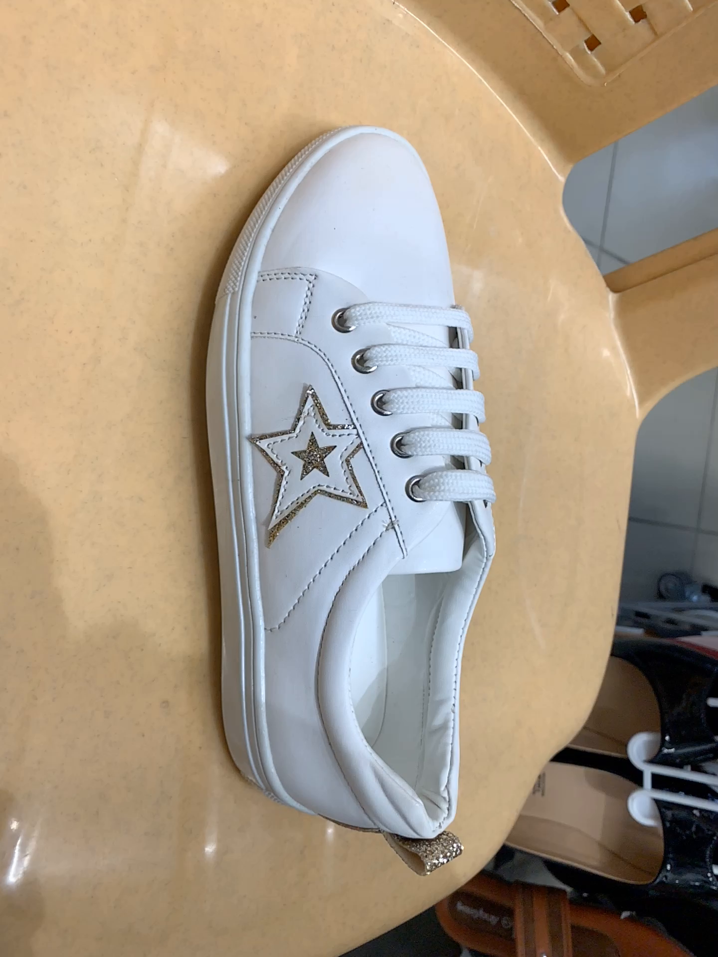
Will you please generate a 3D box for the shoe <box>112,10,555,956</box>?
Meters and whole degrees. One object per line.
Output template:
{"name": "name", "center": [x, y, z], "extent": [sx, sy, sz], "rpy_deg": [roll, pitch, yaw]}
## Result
{"name": "shoe", "center": [-0.012, 0.002, 0.251], "extent": [0.090, 0.090, 0.240], "rpy_deg": [5, 91, -37]}
